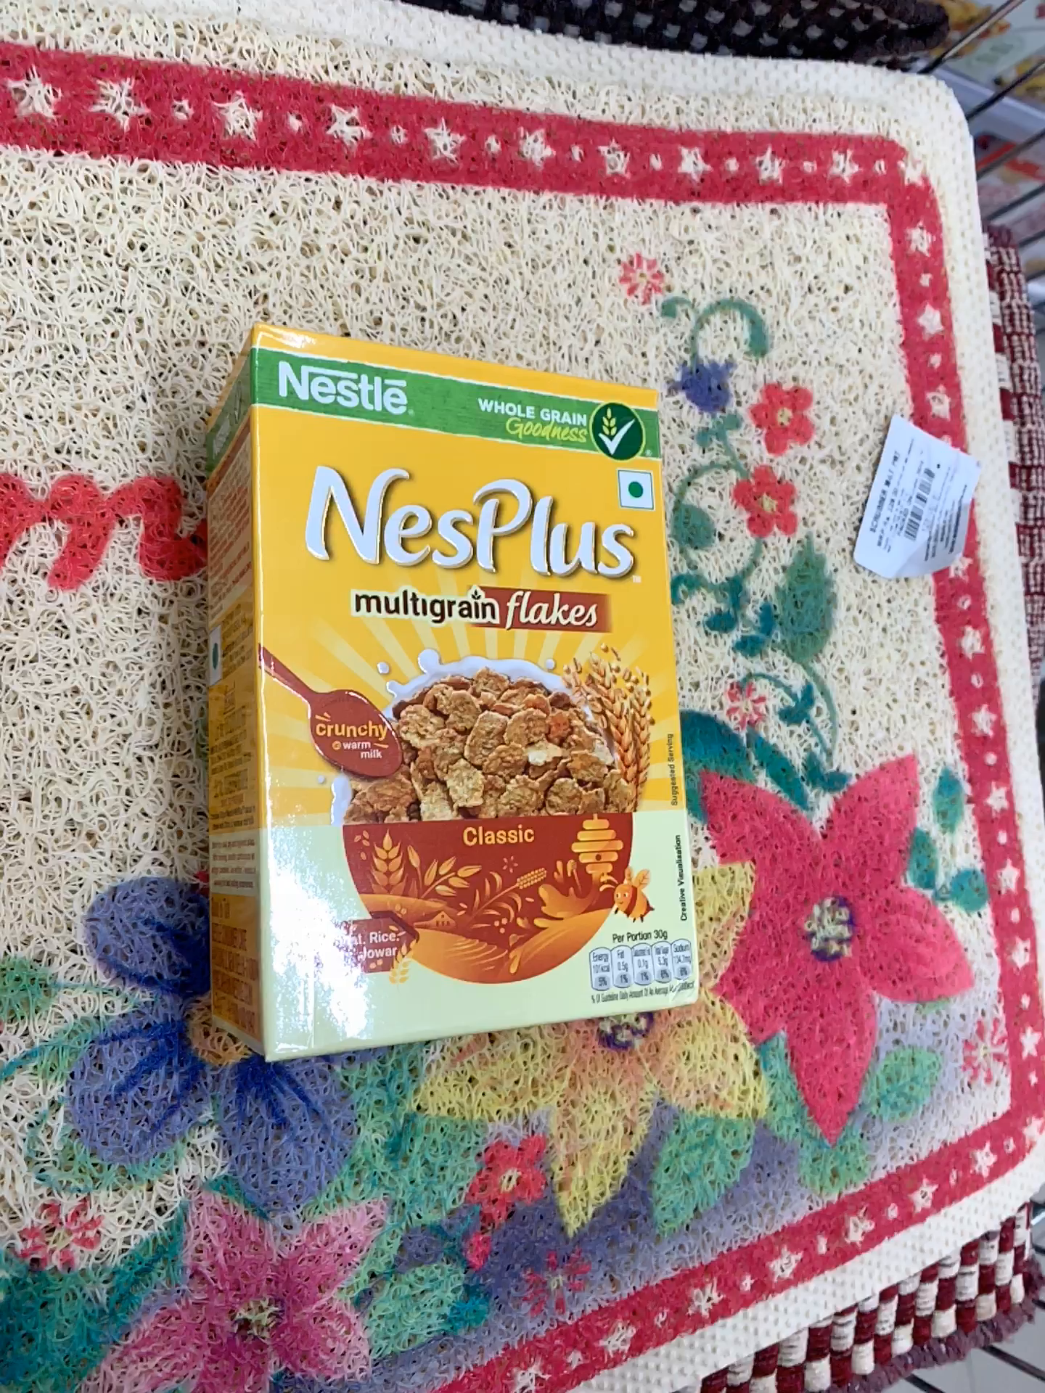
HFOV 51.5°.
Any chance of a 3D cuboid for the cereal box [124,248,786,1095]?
[{"bbox_3d":[-0.015,-0.004,0.234,0.130,0.040,0.150,1,81,-24],"label":"cereal box"}]
